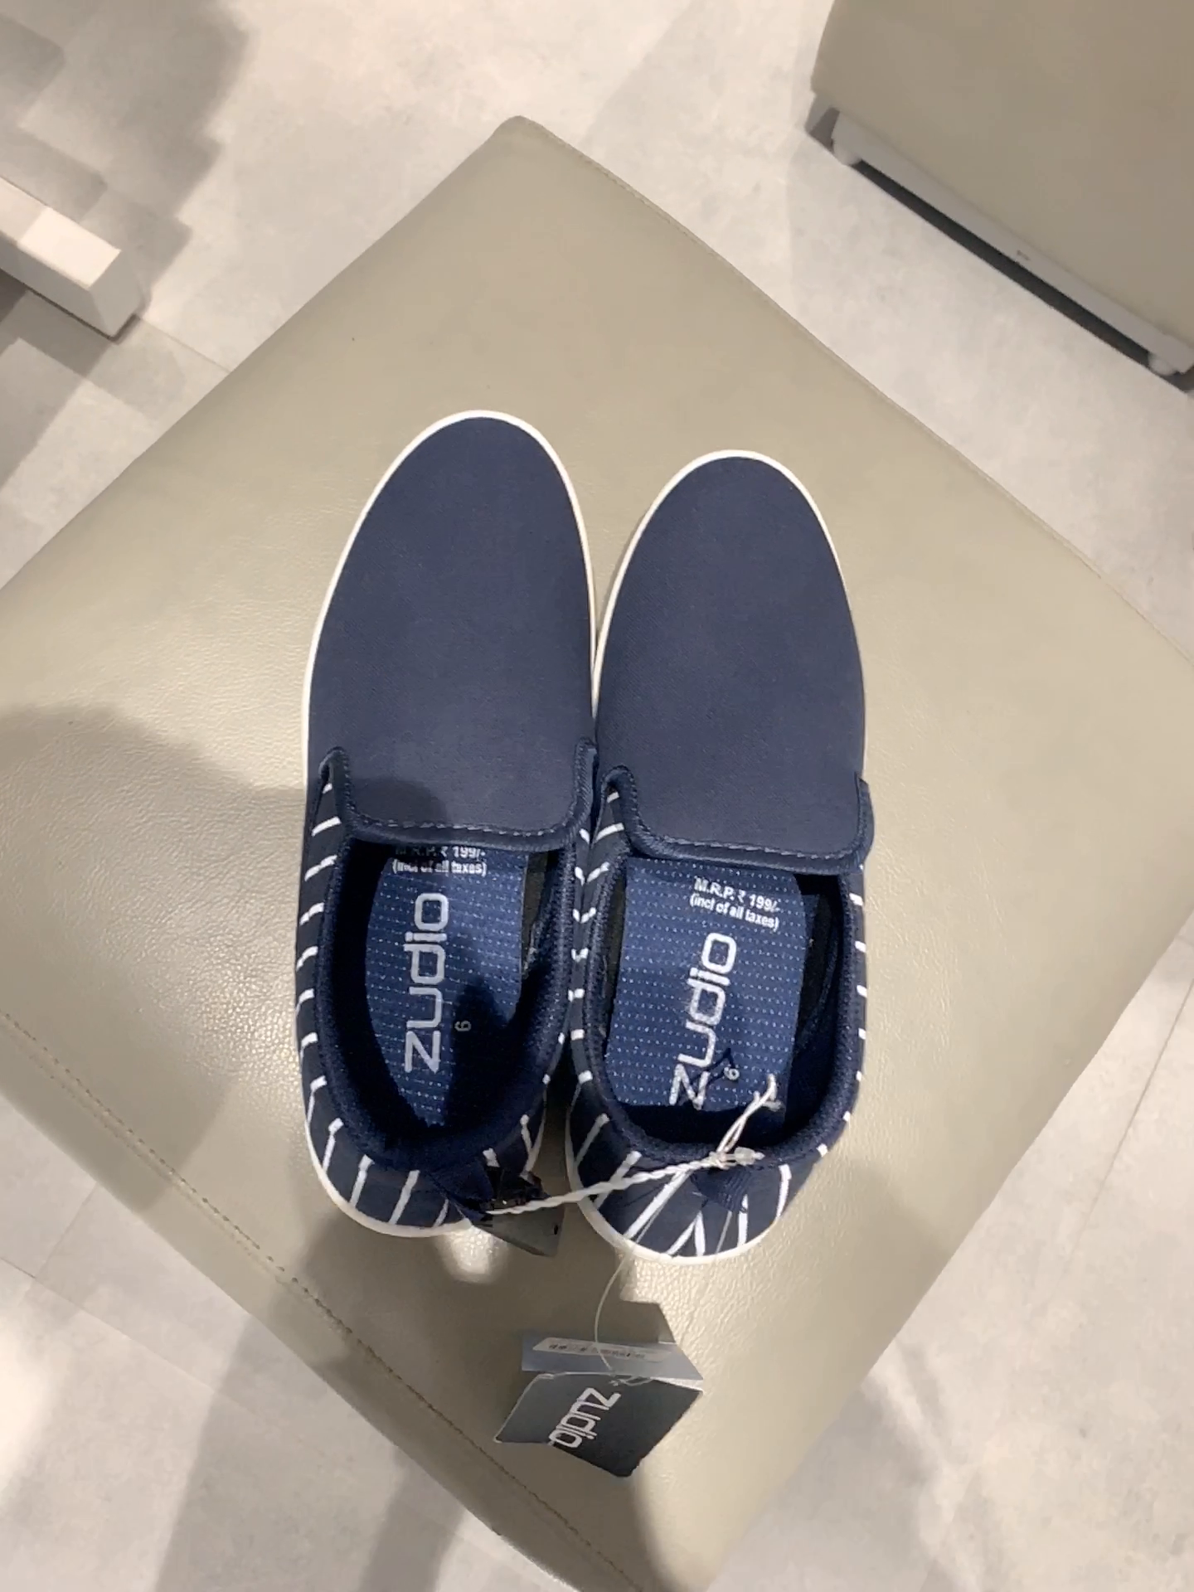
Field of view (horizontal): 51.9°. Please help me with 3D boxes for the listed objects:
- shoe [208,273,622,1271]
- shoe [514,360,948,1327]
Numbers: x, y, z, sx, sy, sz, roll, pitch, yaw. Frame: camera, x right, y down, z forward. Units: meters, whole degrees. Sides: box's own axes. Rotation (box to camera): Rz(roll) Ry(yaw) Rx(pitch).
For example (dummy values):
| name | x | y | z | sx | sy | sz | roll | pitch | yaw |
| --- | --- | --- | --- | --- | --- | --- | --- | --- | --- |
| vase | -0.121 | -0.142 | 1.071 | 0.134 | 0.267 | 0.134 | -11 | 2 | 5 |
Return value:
| name | x | y | z | sx | sy | sz | roll | pitch | yaw |
| --- | --- | --- | --- | --- | --- | --- | --- | --- | --- |
| shoe | -0.049 | -0.007 | 0.384 | 0.100 | 0.090 | 0.280 | 2 | 78 | -6 |
| shoe | 0.041 | 0.013 | 0.394 | 0.100 | 0.090 | 0.270 | 7 | 77 | -5 |
